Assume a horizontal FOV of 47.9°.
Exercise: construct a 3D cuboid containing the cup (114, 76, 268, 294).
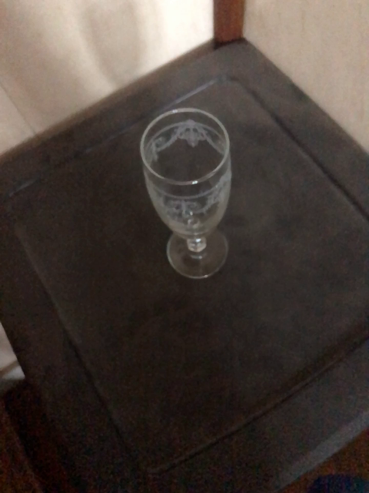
[{"bbox_3d":[0.010,-0.028,0.303,0.060,0.170,0.060,-2,68,4],"label":"cup"}]
